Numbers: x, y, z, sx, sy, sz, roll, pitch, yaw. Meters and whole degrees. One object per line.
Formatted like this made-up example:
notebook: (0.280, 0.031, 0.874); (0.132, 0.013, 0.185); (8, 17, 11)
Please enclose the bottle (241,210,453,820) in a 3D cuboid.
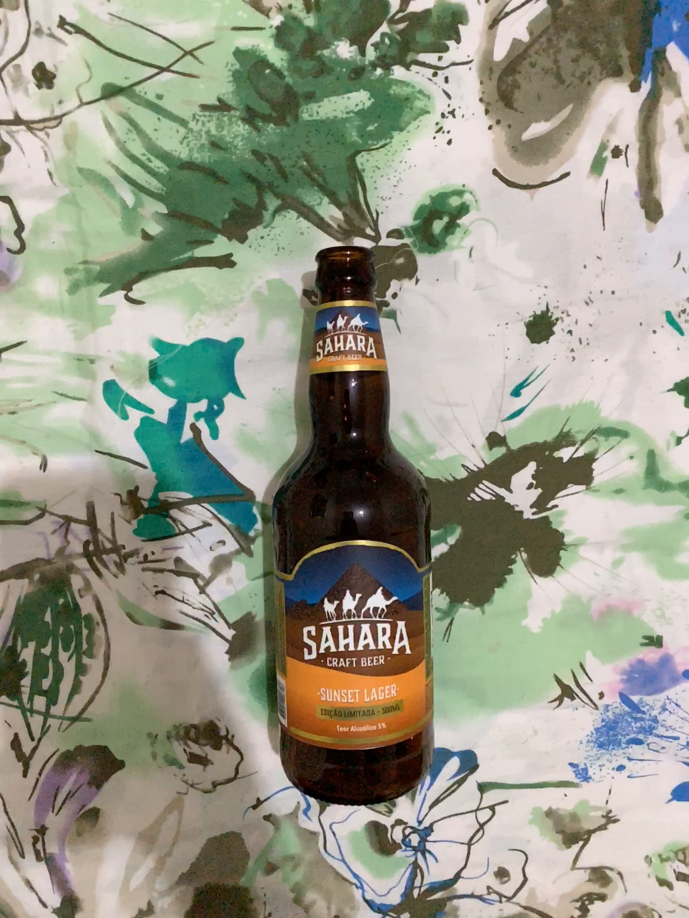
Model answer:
bottle: (0.001, 0.024, 0.325); (0.080, 0.070, 0.250); (-2, 97, -5)
